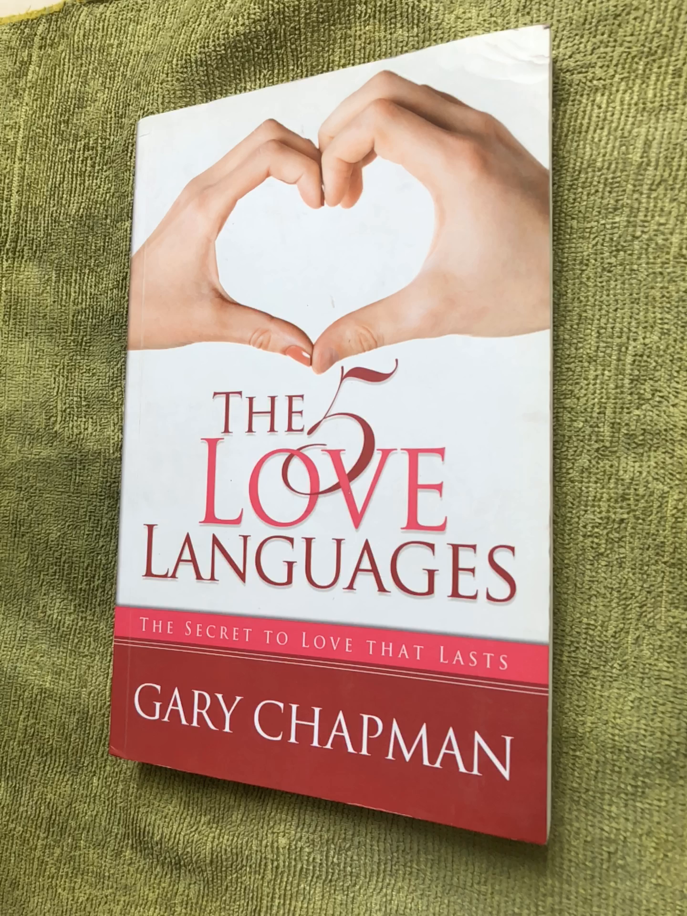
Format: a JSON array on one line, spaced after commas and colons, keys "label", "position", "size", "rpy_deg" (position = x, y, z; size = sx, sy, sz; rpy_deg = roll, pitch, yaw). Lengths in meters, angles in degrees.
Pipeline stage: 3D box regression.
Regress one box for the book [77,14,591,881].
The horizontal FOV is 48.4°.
[{"label": "book", "position": [-0.005, -0.005, 0.217], "size": [0.140, 0.030, 0.200], "rpy_deg": [0, 85, 24]}]
